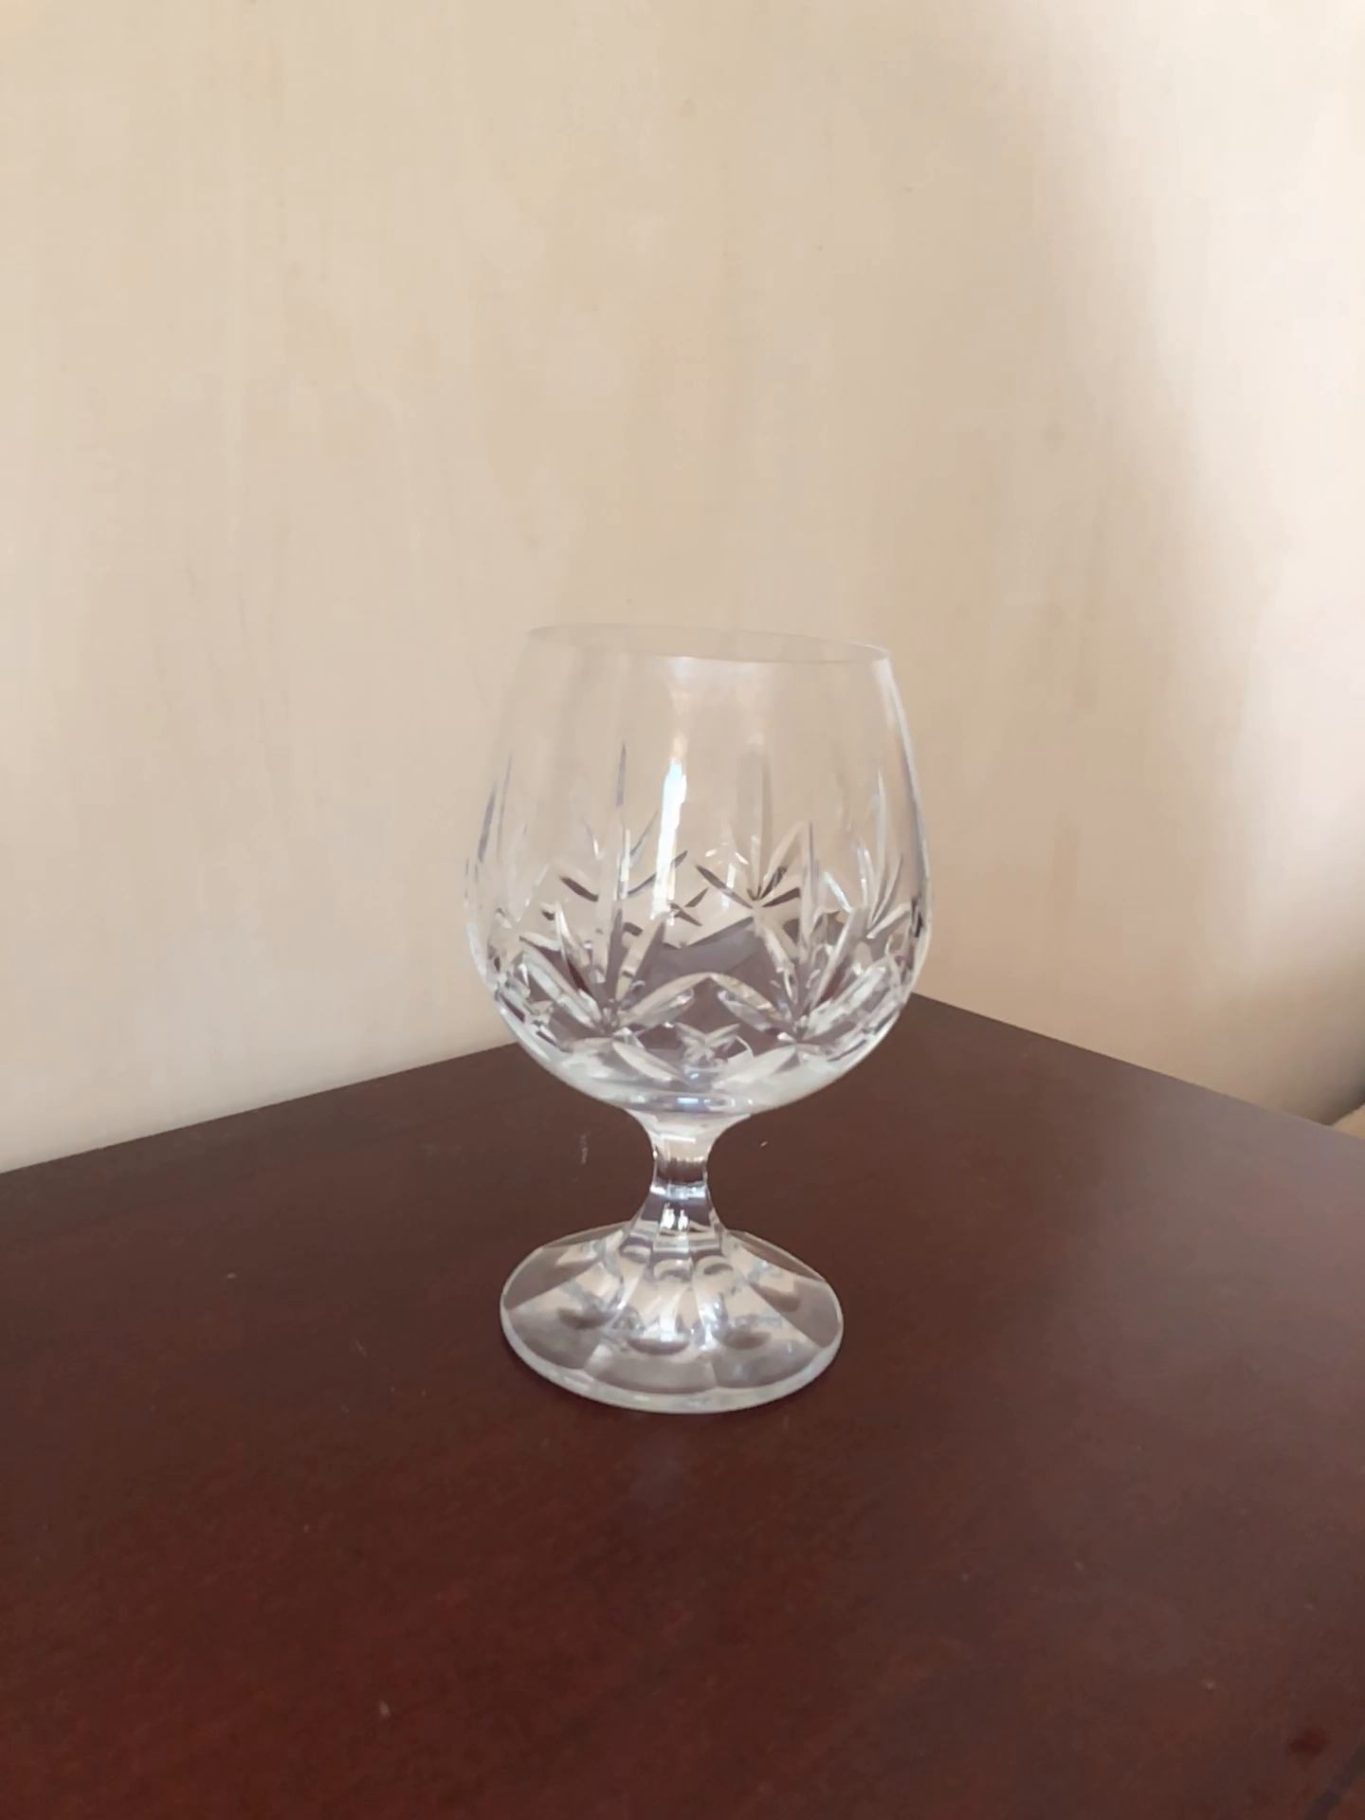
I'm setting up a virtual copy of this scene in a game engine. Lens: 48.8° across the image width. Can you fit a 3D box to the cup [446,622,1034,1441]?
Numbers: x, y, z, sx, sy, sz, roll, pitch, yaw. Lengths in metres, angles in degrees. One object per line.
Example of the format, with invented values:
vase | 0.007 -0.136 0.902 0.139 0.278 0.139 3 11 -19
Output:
cup | 0.001 0.014 0.279 0.087 0.126 0.089 2 13 -1
